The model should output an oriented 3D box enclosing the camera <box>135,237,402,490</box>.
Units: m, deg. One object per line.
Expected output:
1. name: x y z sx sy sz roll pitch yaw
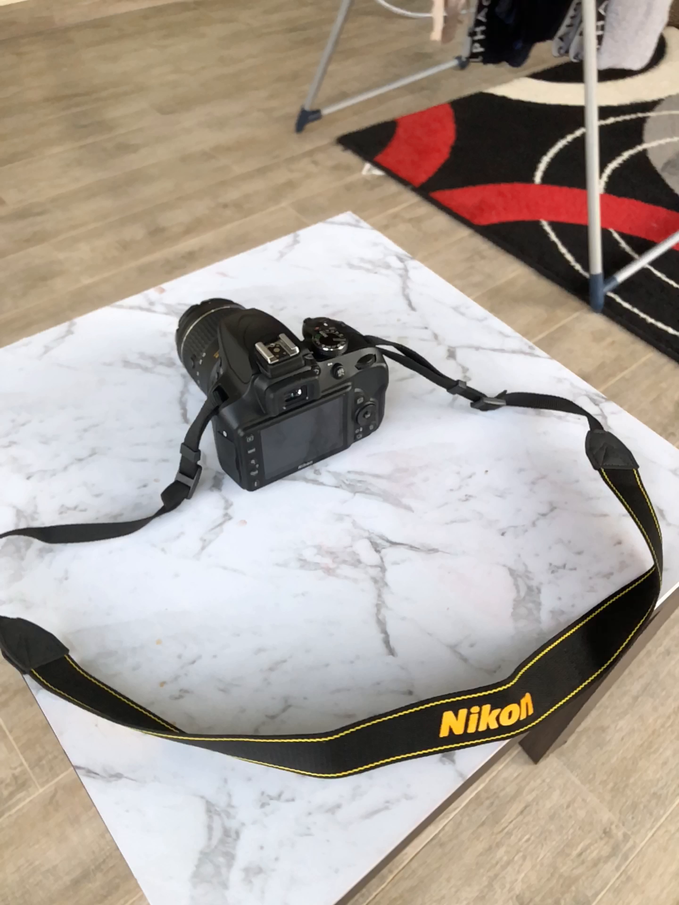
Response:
1. camera: -0.050 -0.068 0.520 0.122 0.076 0.138 -25 52 -24
